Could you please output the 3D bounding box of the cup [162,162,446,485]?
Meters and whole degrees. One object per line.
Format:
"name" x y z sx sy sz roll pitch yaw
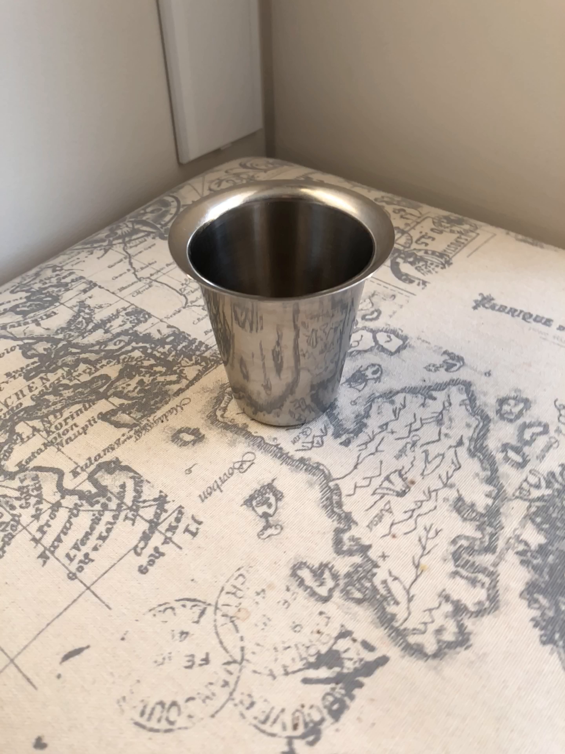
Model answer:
"cup" 0.003 -0.023 0.247 0.081 0.081 0.084 -1 42 1
